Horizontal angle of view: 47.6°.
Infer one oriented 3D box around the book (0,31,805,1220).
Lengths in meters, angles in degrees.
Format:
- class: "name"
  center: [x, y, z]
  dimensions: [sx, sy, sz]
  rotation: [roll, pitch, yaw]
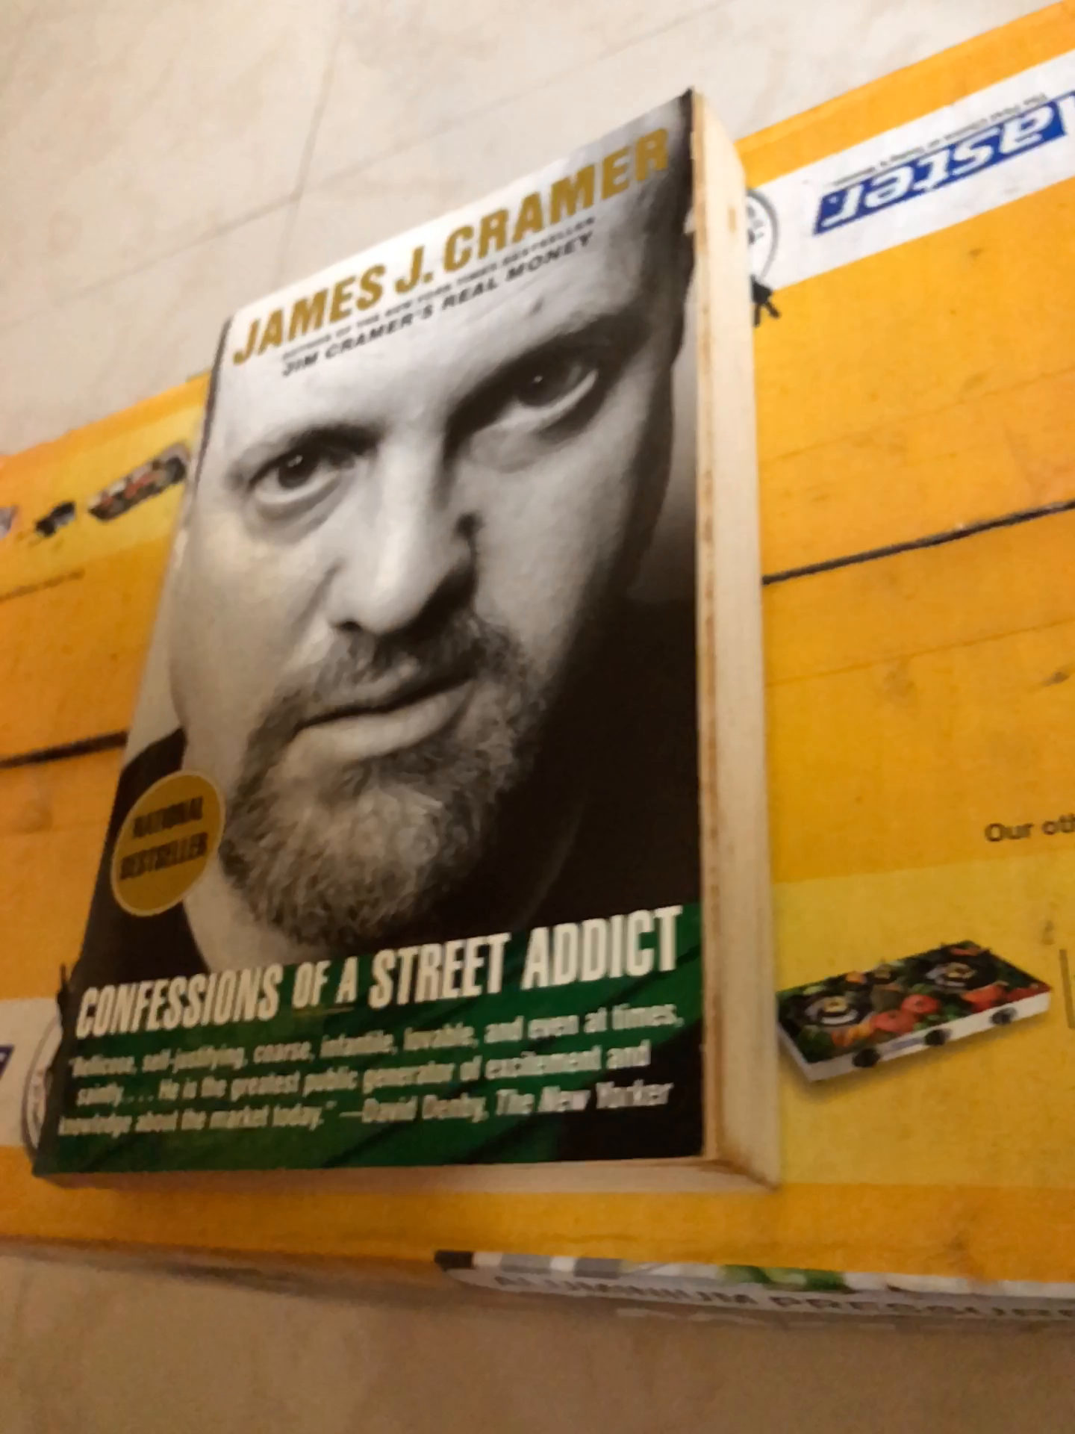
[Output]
- class: "book"
  center: [-0.024, -0.024, 0.247]
  dimensions: [0.140, 0.030, 0.230]
  rotation: [-13, 57, 28]
